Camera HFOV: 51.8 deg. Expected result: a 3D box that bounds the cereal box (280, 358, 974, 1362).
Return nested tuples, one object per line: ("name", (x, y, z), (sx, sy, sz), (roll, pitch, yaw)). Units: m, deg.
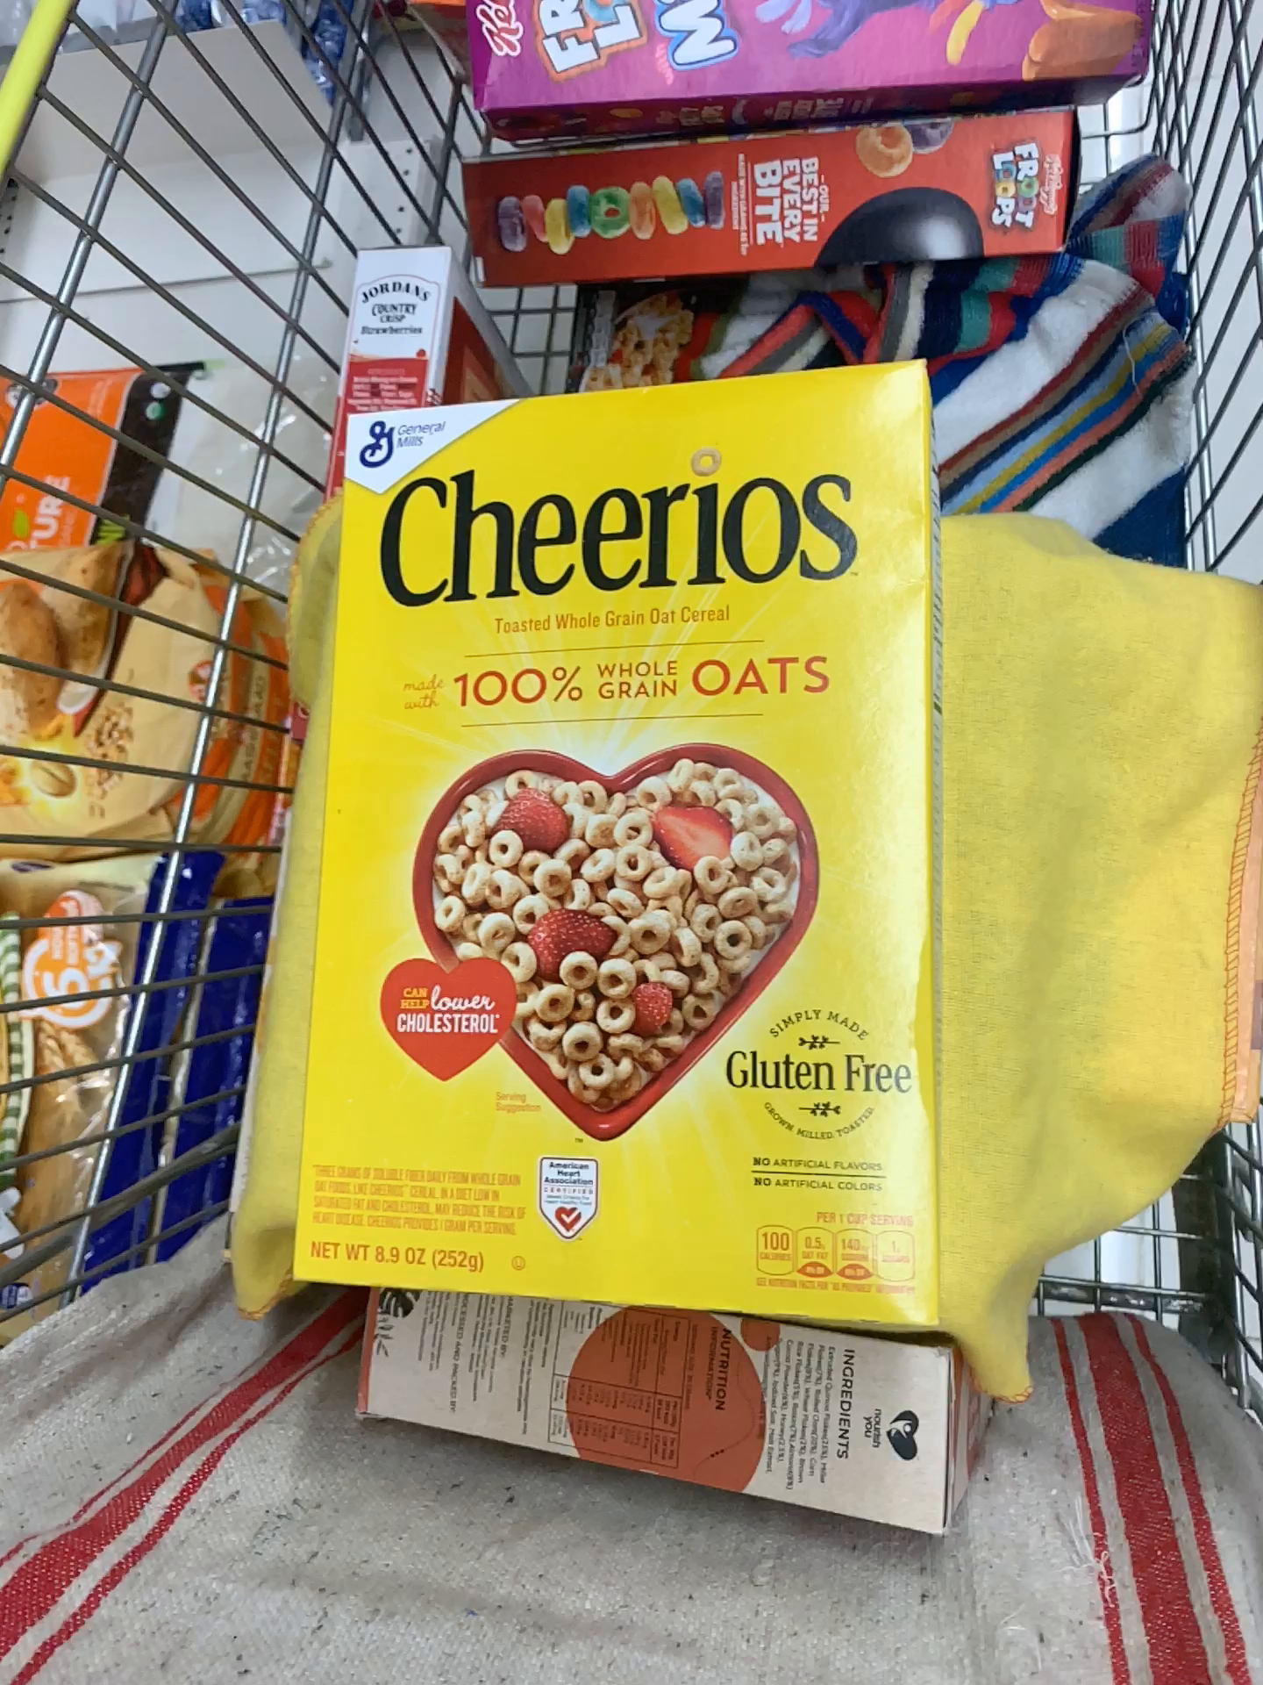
("cereal box", (0.003, 0.003, 0.397), (0.190, 0.060, 0.270), (-1, 80, 14))
